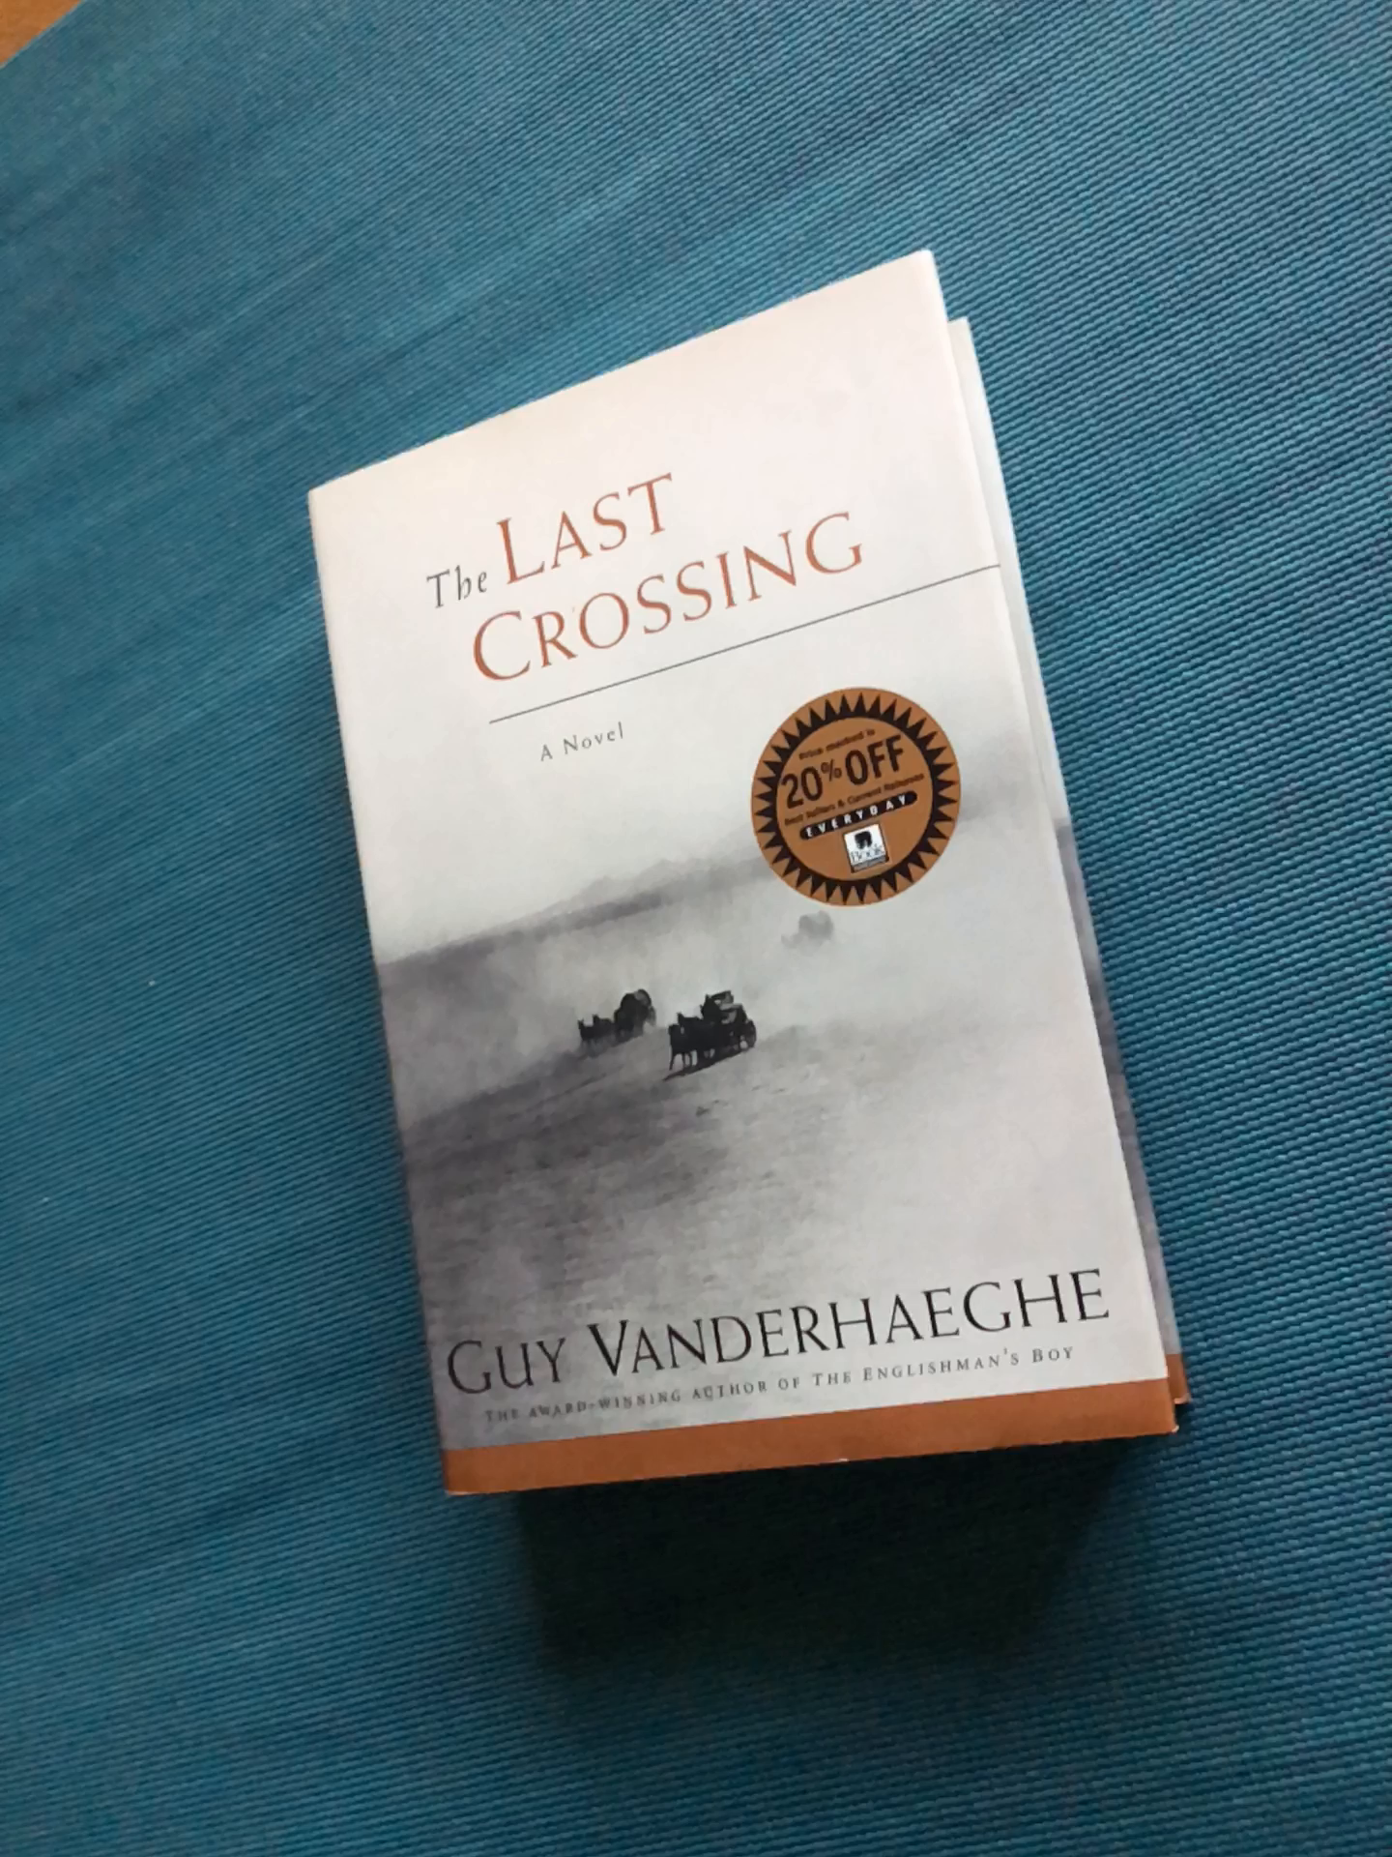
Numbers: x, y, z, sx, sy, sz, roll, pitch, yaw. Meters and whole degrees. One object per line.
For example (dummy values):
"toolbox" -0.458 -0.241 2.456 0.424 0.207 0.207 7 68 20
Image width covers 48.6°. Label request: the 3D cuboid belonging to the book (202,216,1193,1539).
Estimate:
"book" -0.010 -0.003 0.322 0.170 0.040 0.230 -13 79 21
